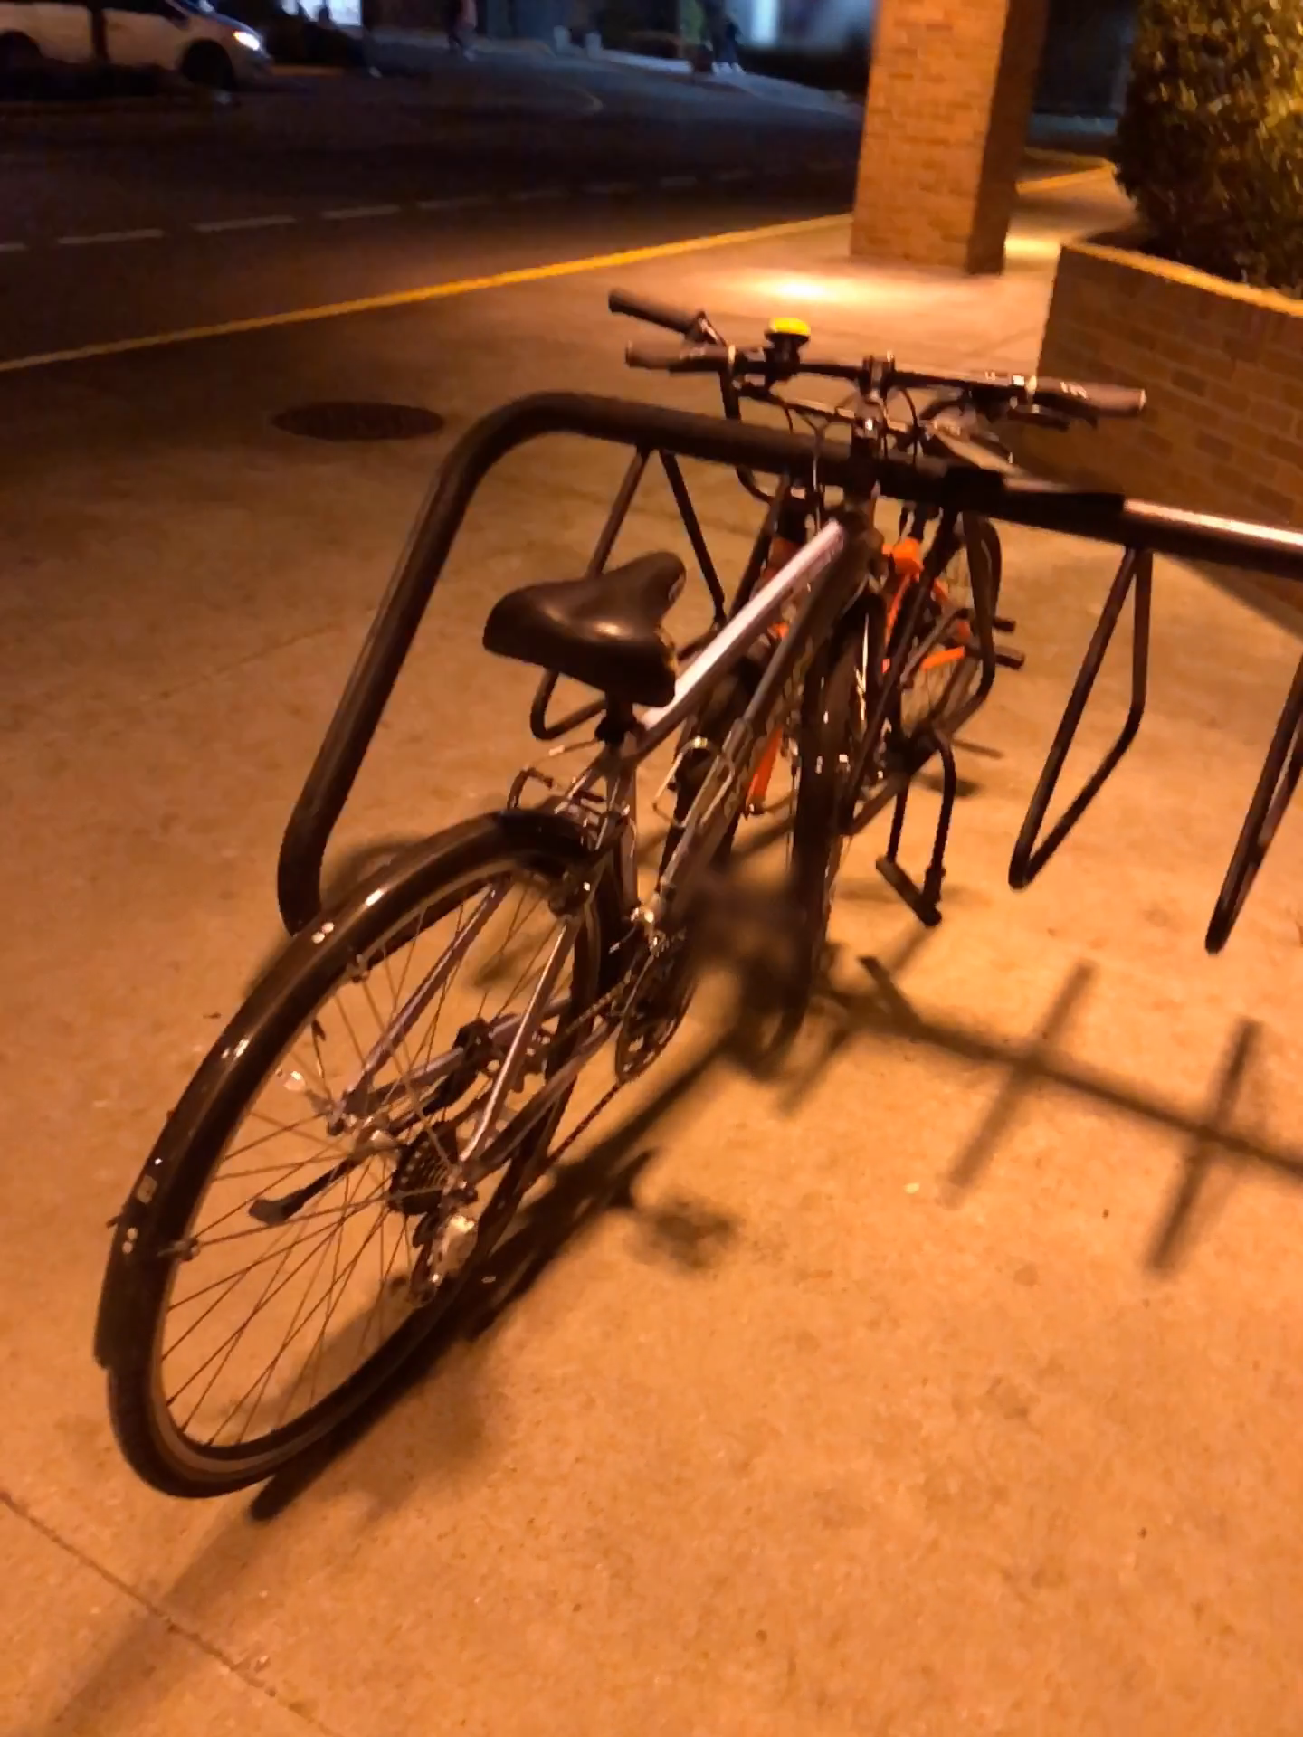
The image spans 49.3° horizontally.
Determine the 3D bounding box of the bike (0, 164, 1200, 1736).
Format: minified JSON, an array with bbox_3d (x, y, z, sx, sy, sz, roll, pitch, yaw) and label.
[{"bbox_3d":[0.021,-0.157,1.591,0.639,0.864,1.649,18,37,22],"label":"bike"}]
